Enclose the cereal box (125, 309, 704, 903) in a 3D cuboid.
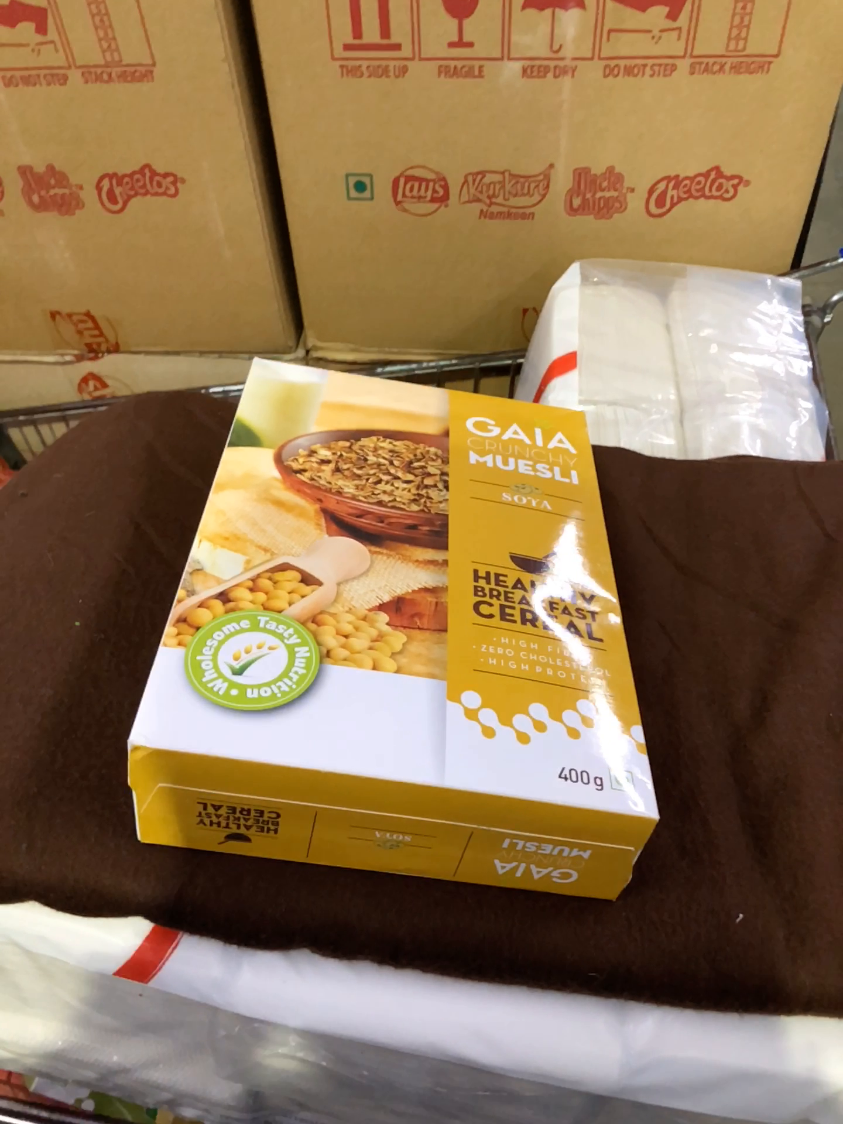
[{"bbox_3d":[0.000,-0.001,0.377,0.170,0.060,0.242,8,44,-5],"label":"cereal box"}]
